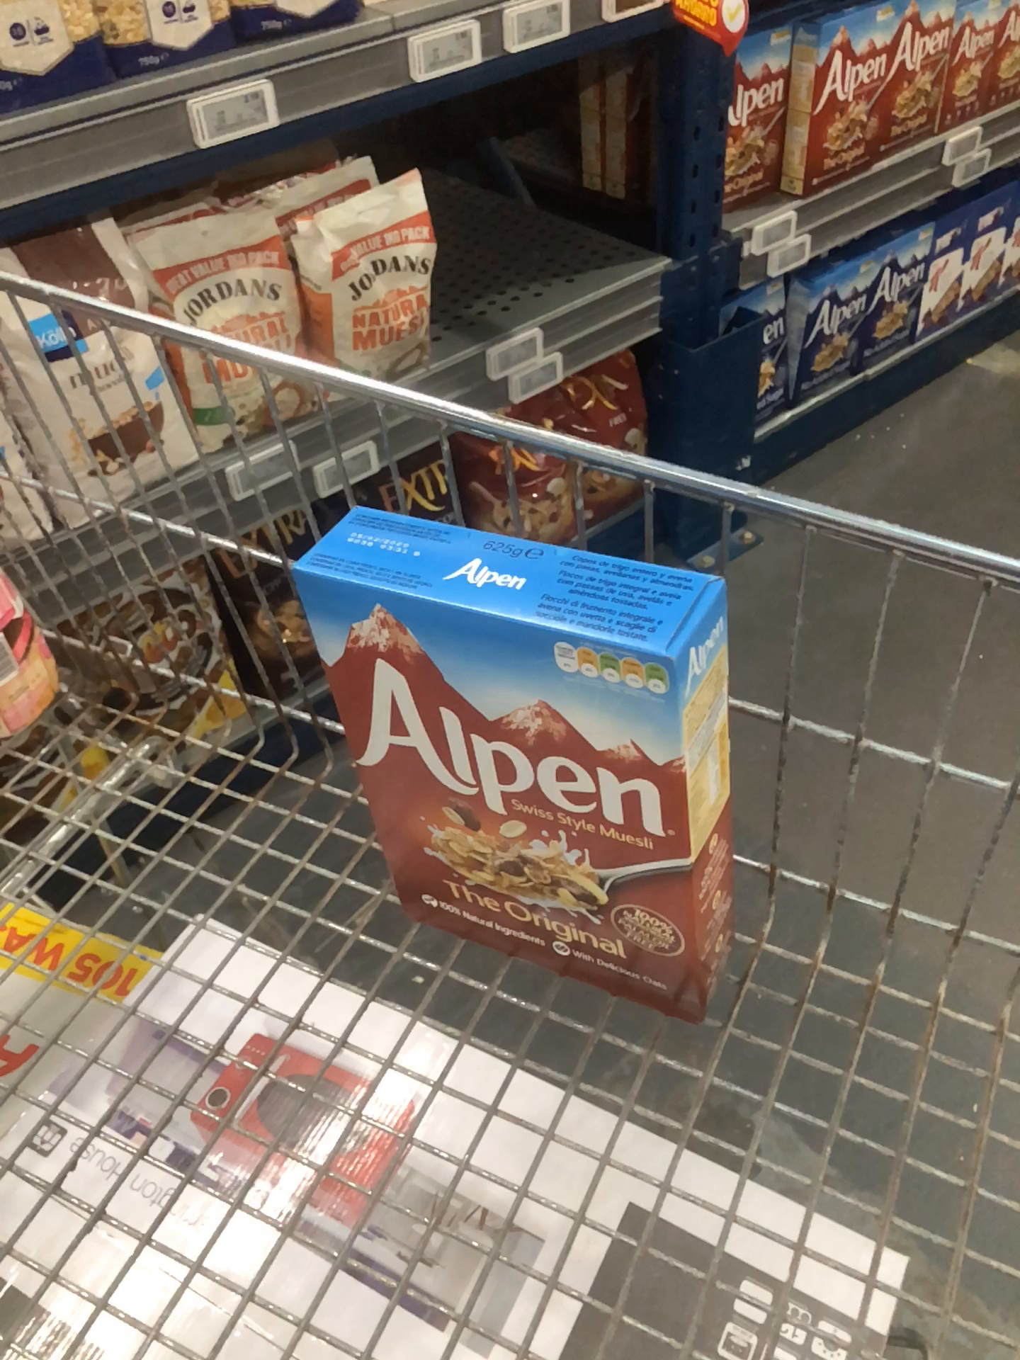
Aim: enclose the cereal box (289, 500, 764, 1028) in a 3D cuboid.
[{"bbox_3d":[0.015,0.042,0.516,0.180,0.219,0.060,15,46,25],"label":"cereal box"}]
